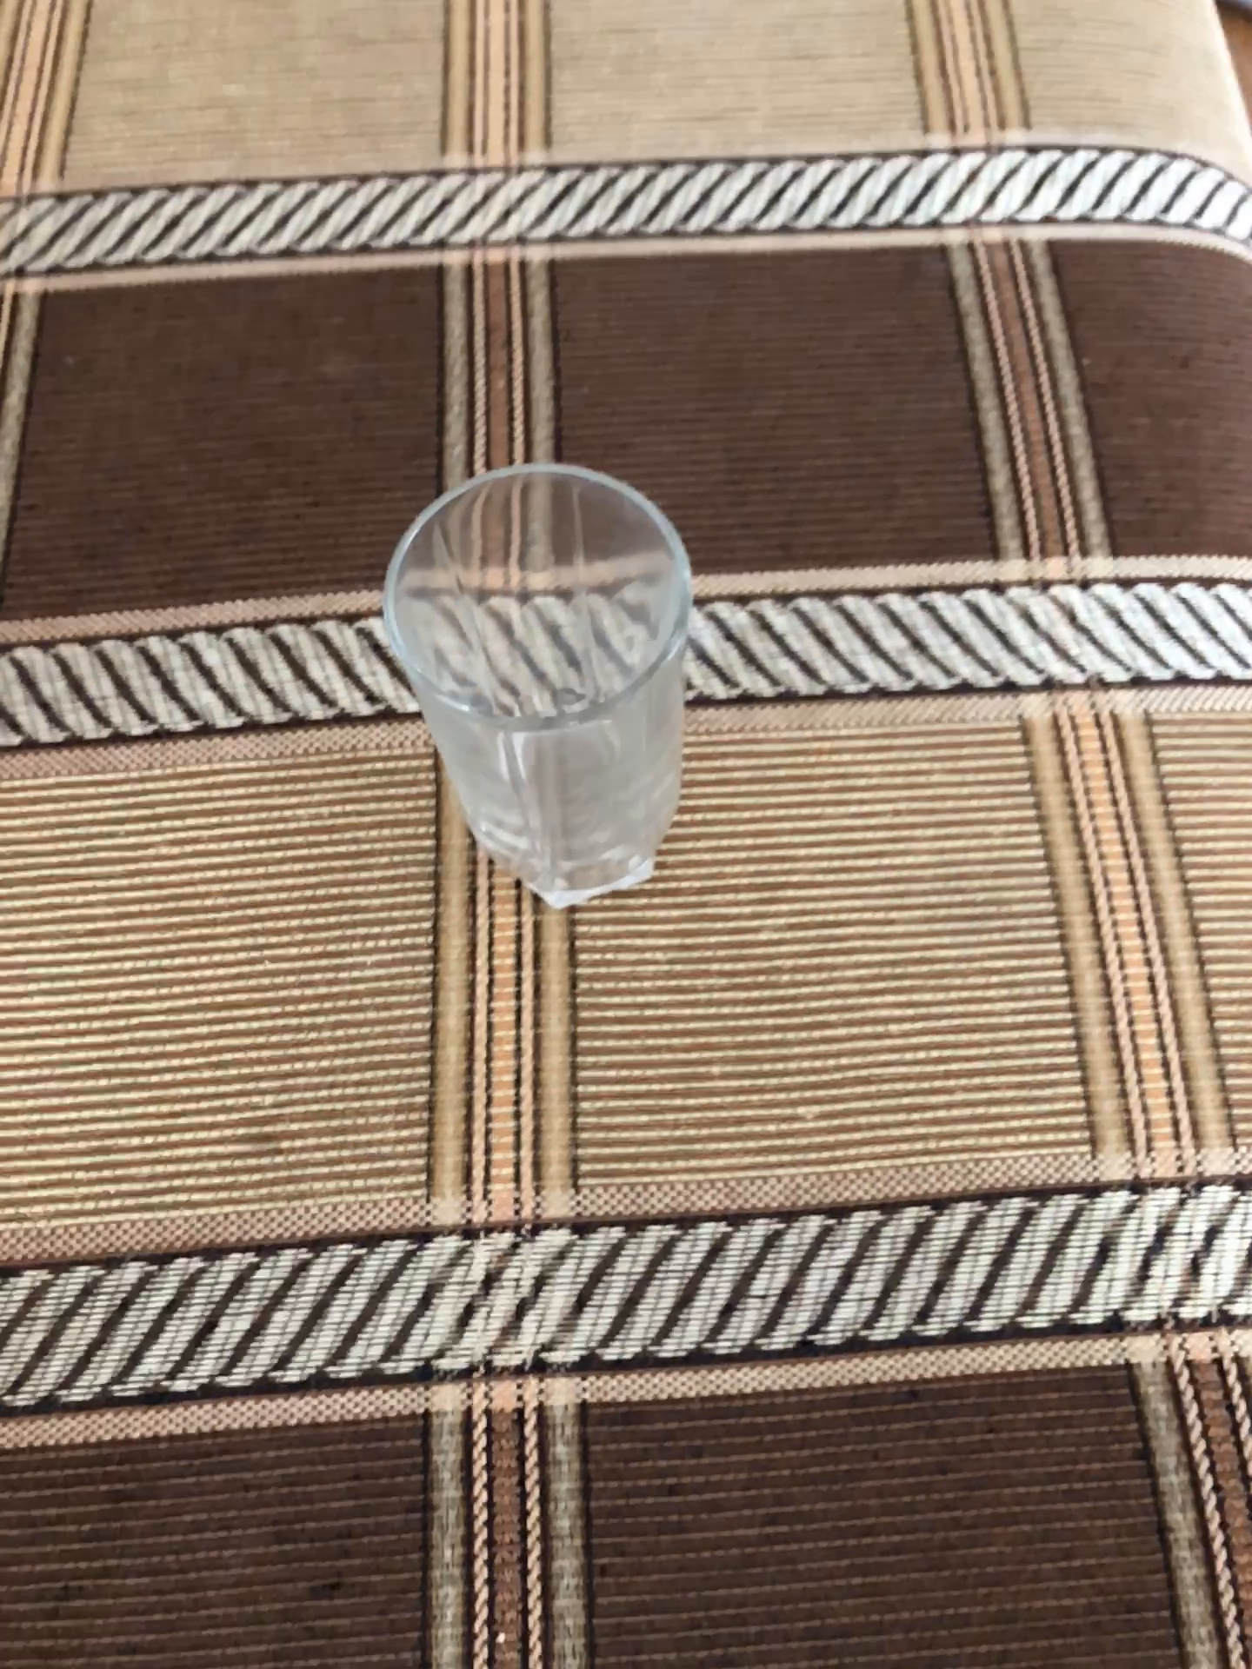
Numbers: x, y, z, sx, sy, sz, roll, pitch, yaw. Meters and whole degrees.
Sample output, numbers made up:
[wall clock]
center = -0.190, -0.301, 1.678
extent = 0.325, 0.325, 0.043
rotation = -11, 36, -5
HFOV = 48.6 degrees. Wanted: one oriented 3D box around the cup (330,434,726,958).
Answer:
[cup]
center = -0.018, -0.029, 0.367
extent = 0.075, 0.130, 0.077
rotation = -1, 67, 2
